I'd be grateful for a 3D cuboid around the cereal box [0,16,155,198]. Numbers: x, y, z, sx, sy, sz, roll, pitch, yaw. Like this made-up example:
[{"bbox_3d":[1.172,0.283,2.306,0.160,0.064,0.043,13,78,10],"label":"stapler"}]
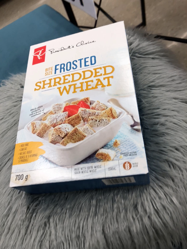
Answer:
[{"bbox_3d":[-0.025,-0.046,0.368,0.200,0.070,0.310,-8,59,9],"label":"cereal box"}]
